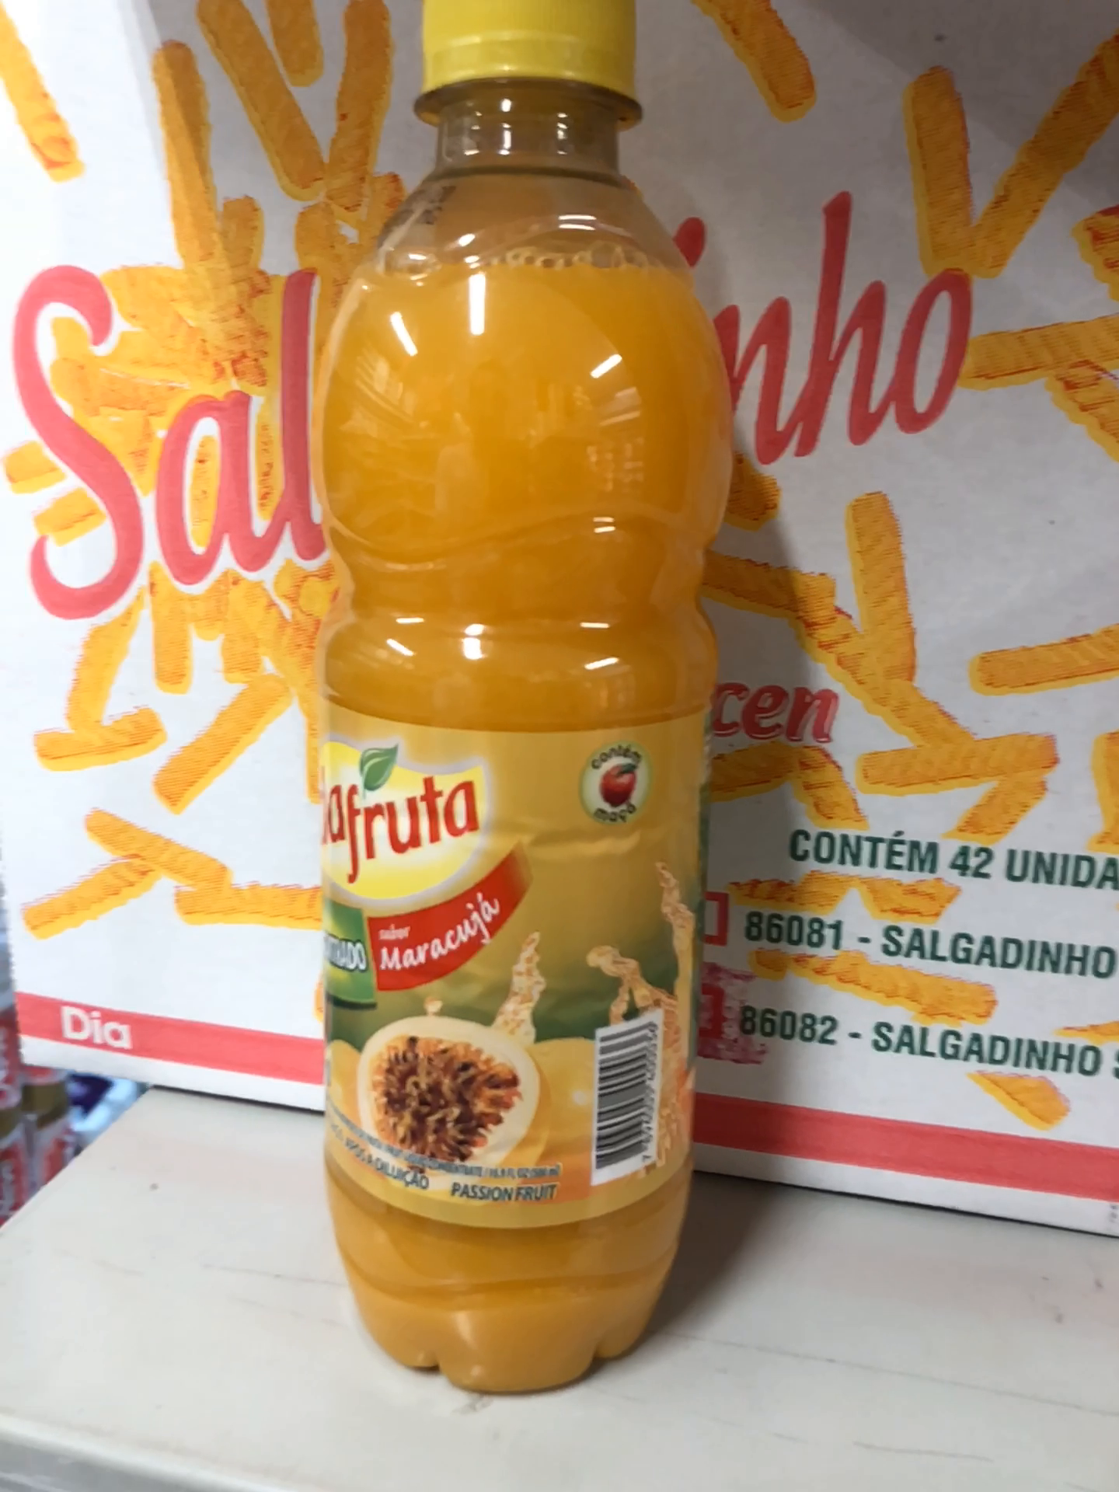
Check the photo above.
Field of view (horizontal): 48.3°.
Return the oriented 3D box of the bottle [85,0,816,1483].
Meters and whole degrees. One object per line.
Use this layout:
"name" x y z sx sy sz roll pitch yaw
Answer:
"bottle" -0.012 -0.007 0.185 0.070 0.199 0.060 10 19 28
